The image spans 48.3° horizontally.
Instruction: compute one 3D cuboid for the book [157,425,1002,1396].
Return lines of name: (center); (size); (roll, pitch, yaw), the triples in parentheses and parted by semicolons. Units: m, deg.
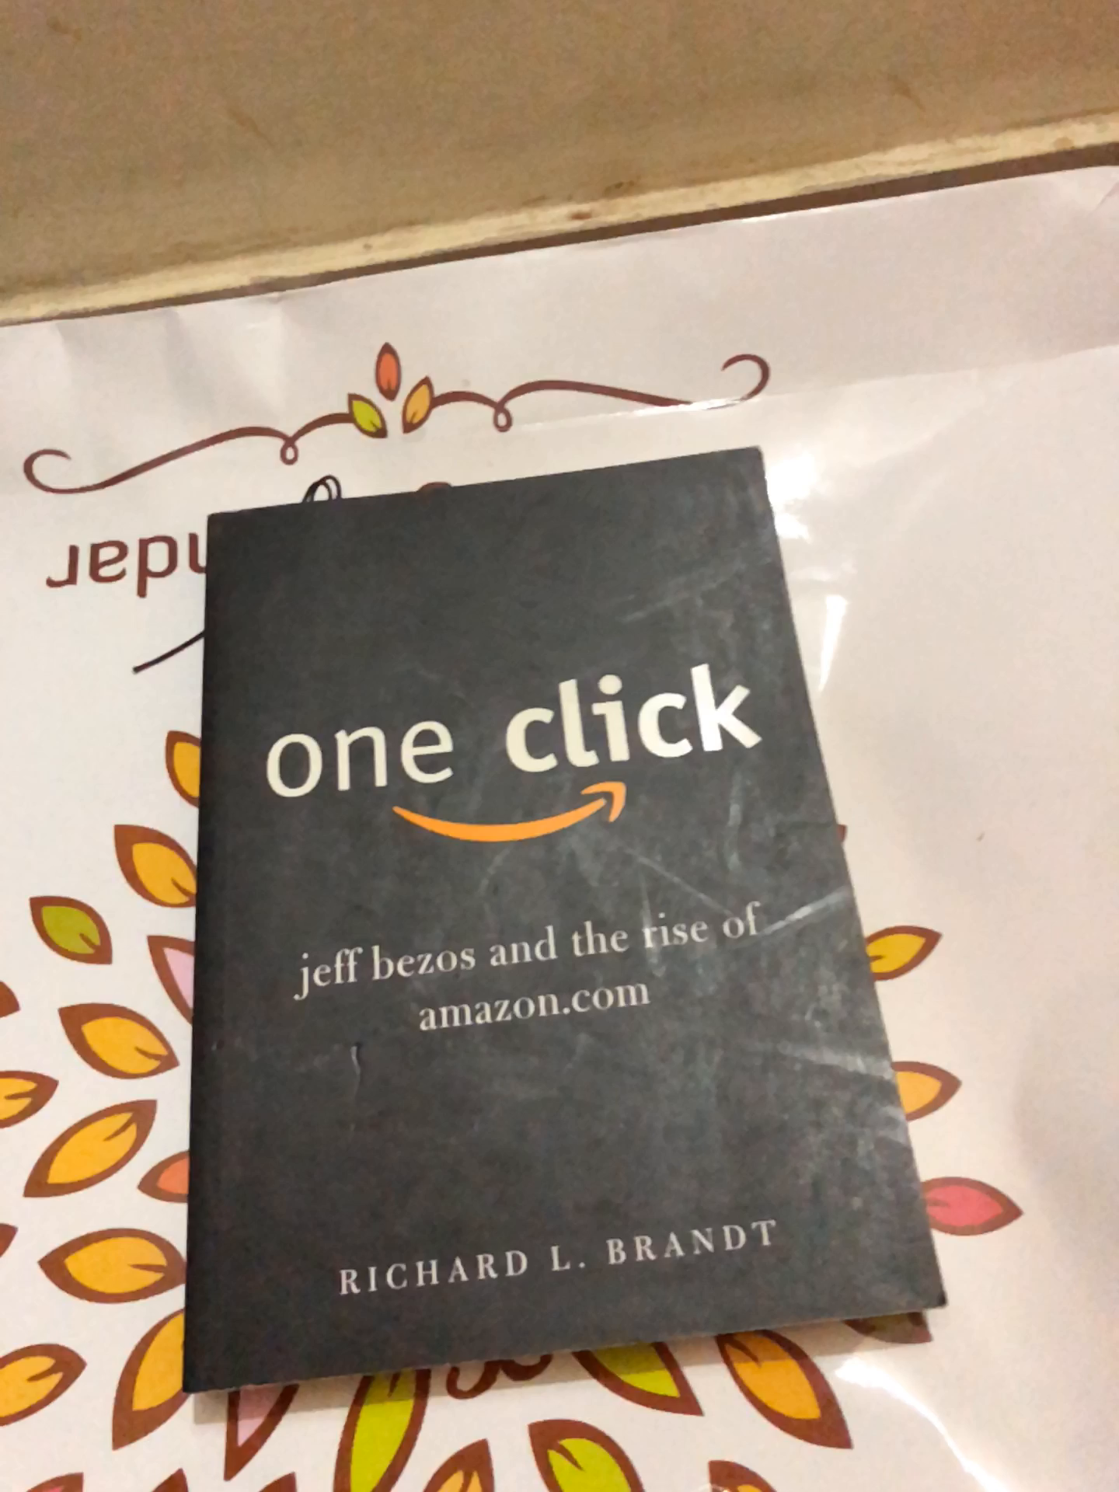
book: (-0.006, 0.023, 0.297); (0.160, 0.020, 0.221); (-7, 61, 3)
